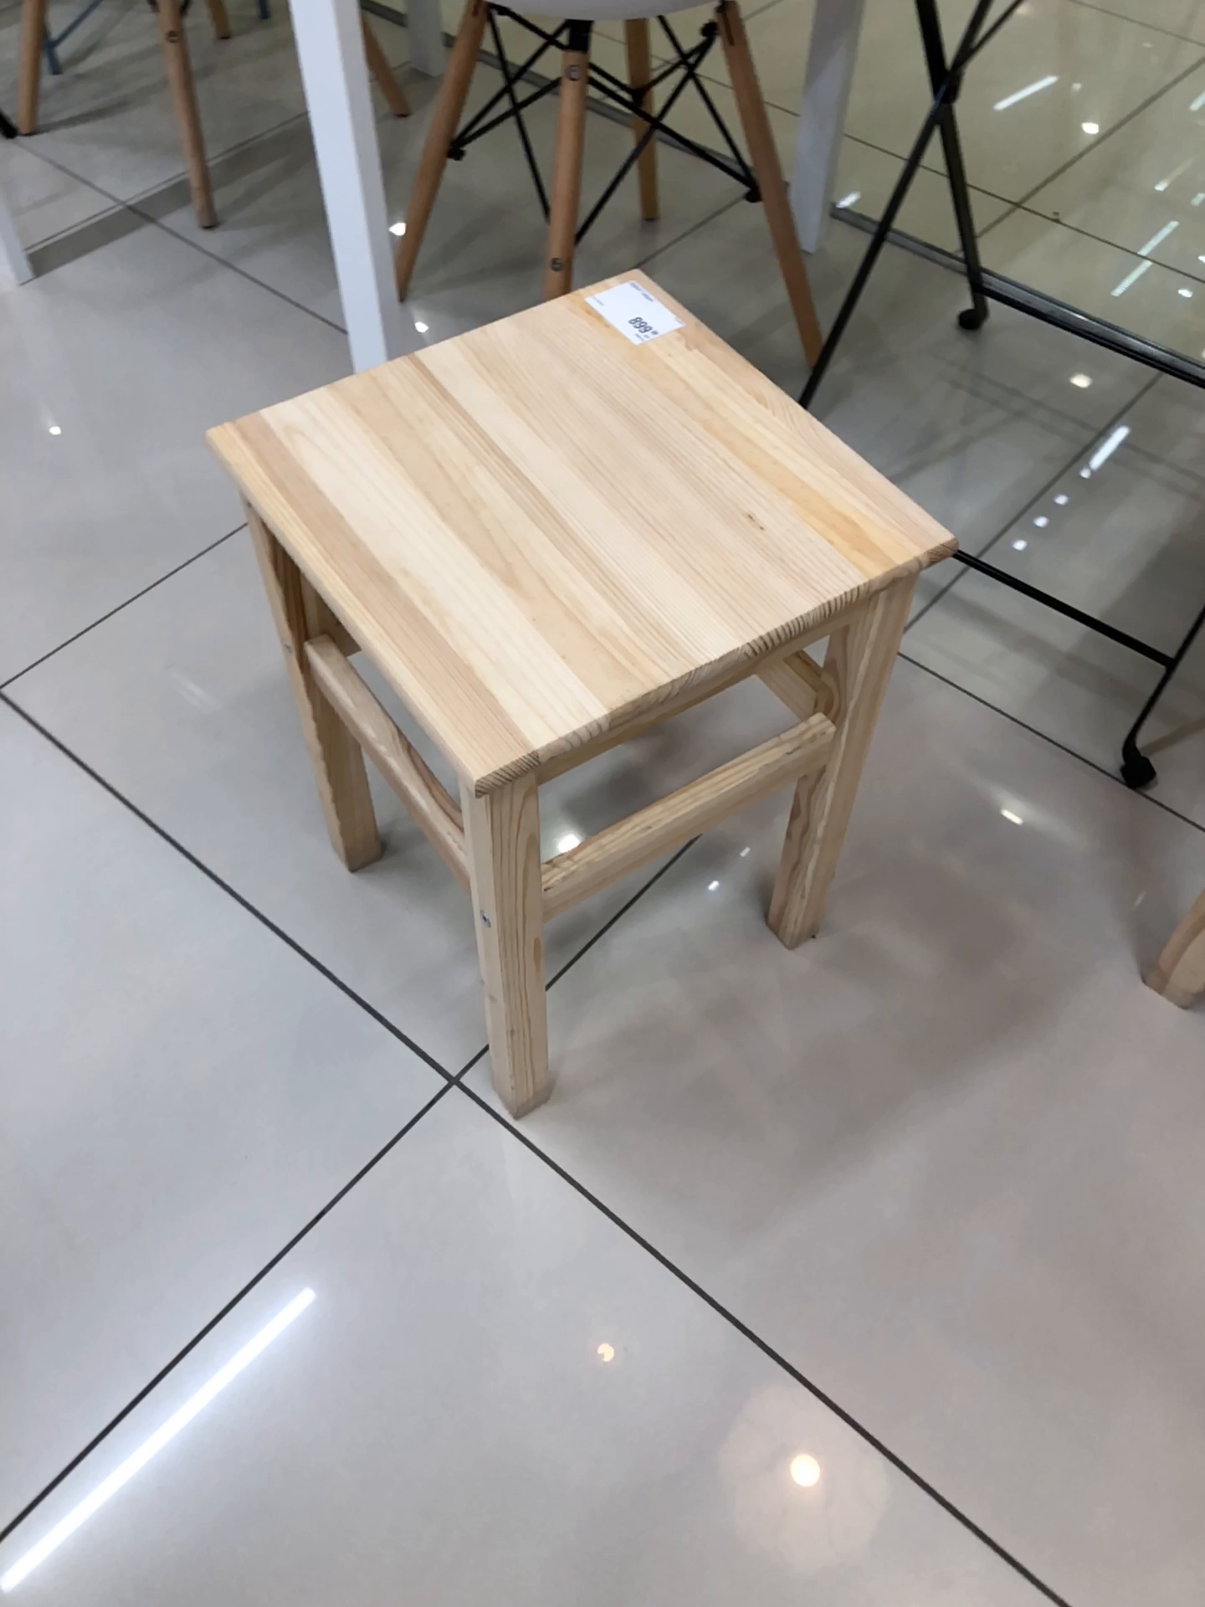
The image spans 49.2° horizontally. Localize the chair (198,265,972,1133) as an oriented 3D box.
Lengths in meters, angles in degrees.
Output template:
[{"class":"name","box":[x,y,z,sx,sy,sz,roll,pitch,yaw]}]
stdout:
[{"class":"chair","box":[-0.019,-0.063,0.924,0.321,0.408,0.328,-28,59,-19]}]
